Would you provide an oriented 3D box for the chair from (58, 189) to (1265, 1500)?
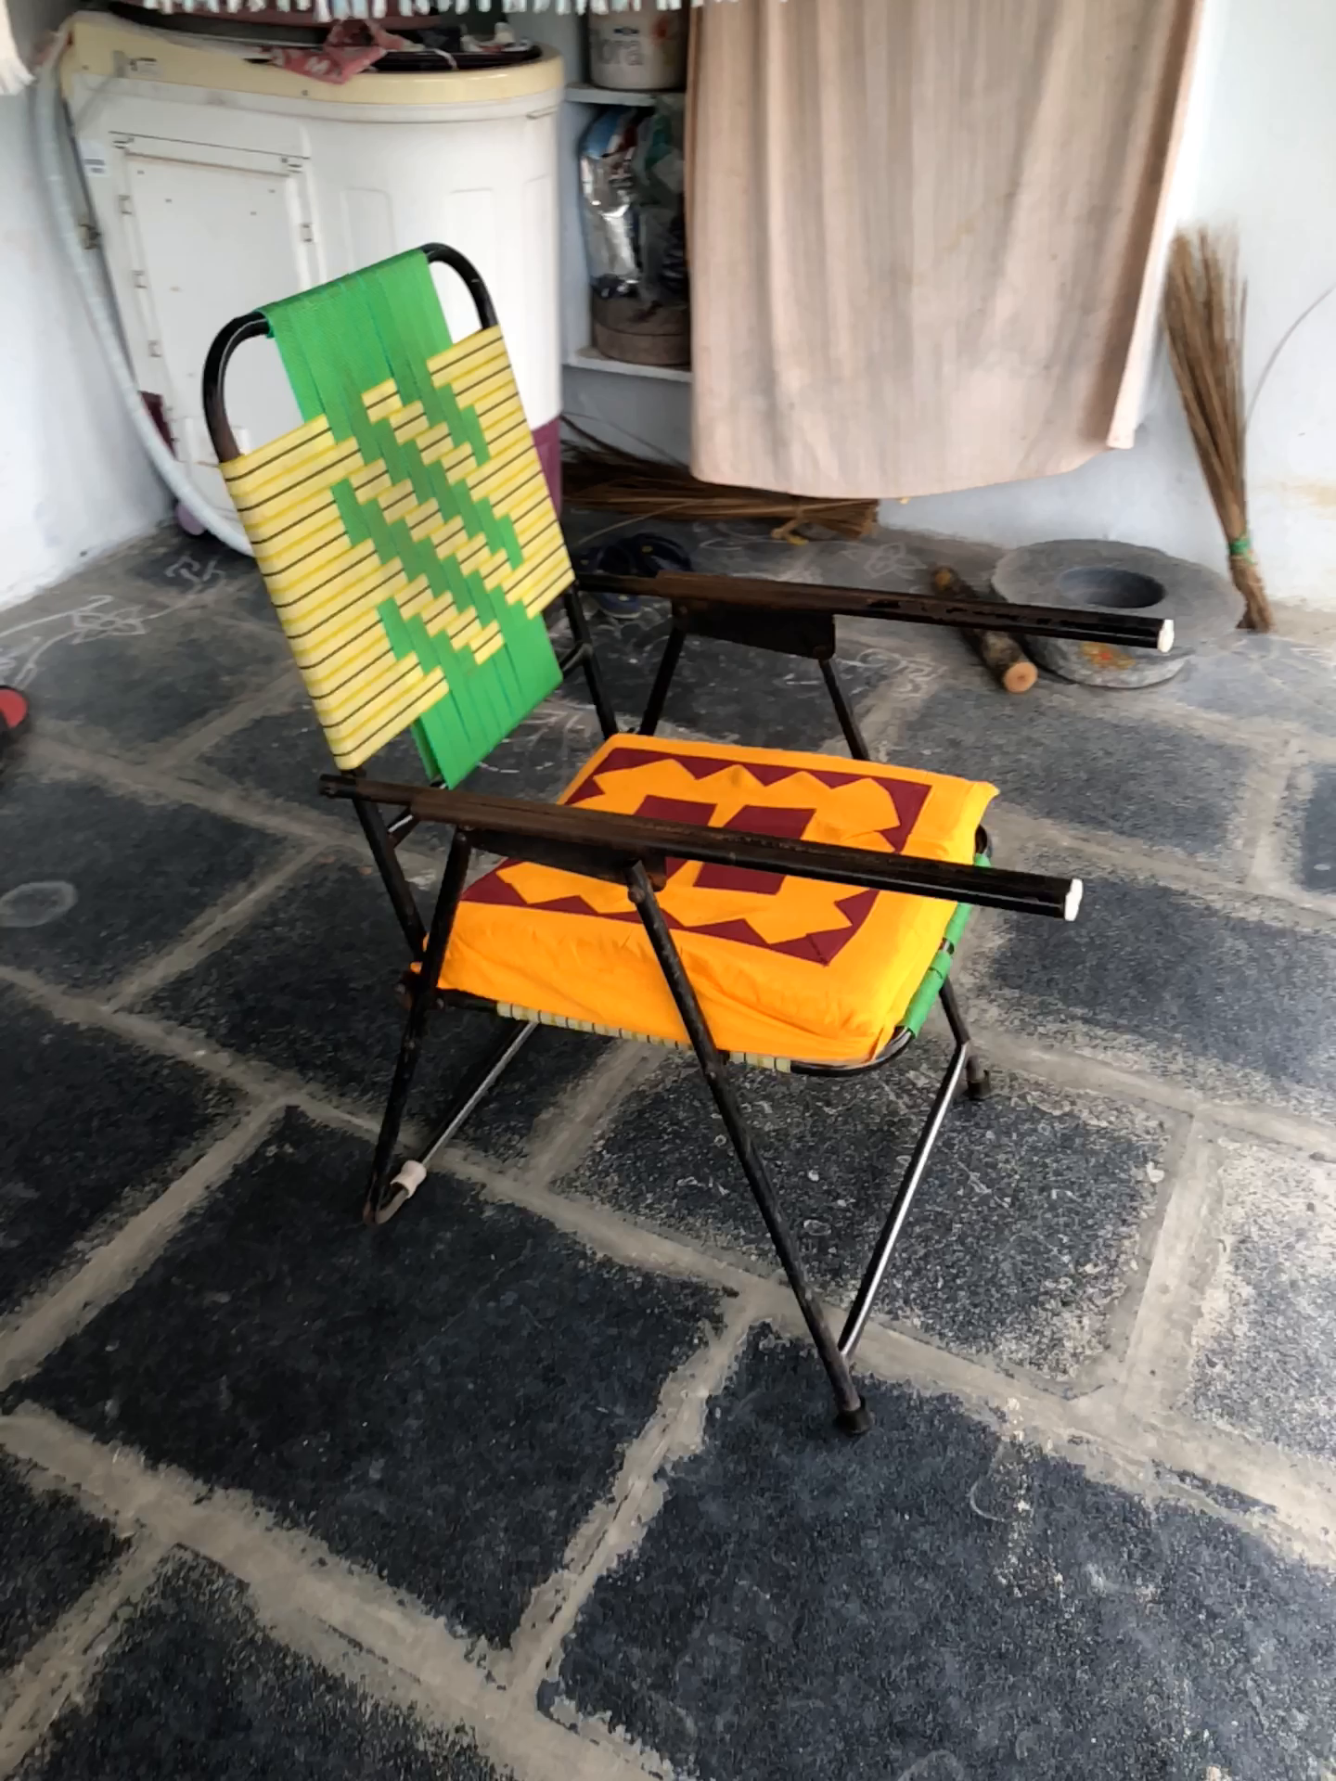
[{"bbox_3d":[0.056,-0.099,1.306,0.680,0.825,0.664,13,37,19],"label":"chair"}]
